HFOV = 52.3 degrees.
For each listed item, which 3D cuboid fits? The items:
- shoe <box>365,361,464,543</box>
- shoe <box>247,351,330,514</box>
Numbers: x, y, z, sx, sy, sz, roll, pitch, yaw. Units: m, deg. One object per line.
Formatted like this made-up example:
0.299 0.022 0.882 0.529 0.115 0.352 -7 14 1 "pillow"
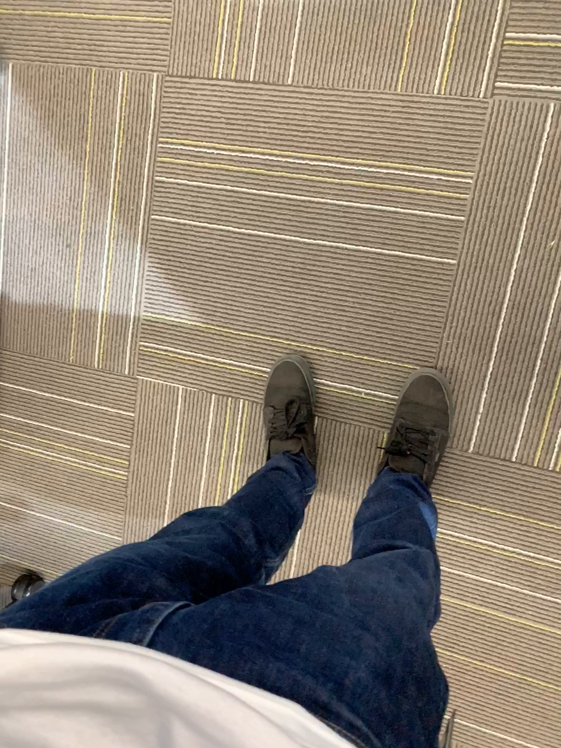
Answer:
0.244 0.136 1.039 0.109 0.113 0.292 13 103 14 "shoe"
0.019 0.109 1.105 0.109 0.113 0.291 -3 99 17 "shoe"
